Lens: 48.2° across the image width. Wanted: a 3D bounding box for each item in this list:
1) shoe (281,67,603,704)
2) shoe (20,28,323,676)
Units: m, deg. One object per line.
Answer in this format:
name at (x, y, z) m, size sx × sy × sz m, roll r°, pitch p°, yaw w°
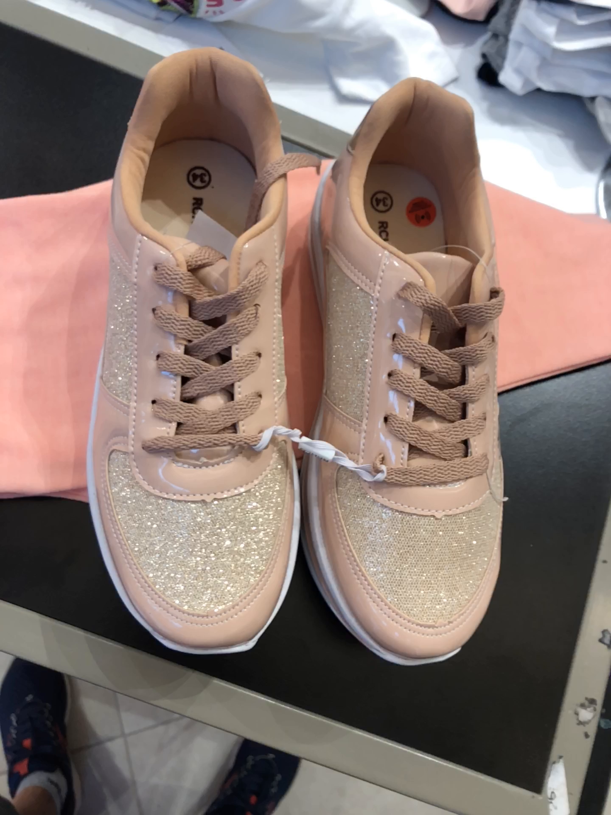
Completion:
shoe at (0.041, -0.009, 0.279) m, size 0.090 × 0.090 × 0.220 m, roll 0°, pitch 78°, yaw -8°
shoe at (-0.049, -0.019, 0.278) m, size 0.090 × 0.100 × 0.220 m, roll 0°, pitch 78°, yaw -8°
